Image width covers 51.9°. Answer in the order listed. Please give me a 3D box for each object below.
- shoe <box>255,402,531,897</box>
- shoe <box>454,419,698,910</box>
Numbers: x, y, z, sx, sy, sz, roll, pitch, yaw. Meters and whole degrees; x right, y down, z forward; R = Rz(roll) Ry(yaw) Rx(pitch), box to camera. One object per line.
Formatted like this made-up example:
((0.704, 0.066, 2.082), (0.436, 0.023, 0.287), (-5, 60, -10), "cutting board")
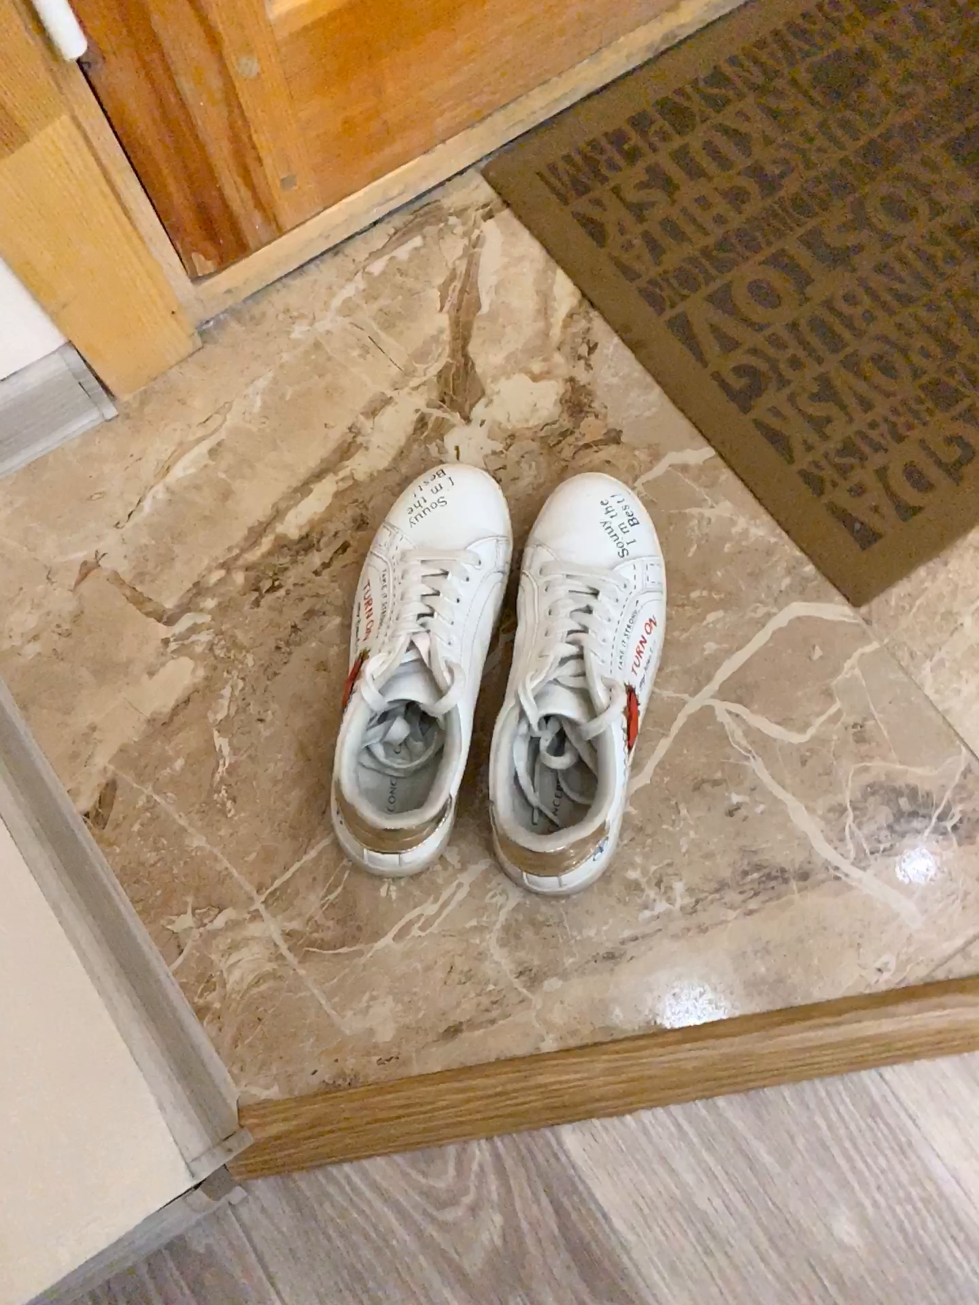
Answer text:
((-0.045, -0.002, 0.568), (0.092, 0.080, 0.256), (10, 74, 5), "shoe")
((0.051, 0.007, 0.571), (0.092, 0.080, 0.256), (9, 74, 5), "shoe")
